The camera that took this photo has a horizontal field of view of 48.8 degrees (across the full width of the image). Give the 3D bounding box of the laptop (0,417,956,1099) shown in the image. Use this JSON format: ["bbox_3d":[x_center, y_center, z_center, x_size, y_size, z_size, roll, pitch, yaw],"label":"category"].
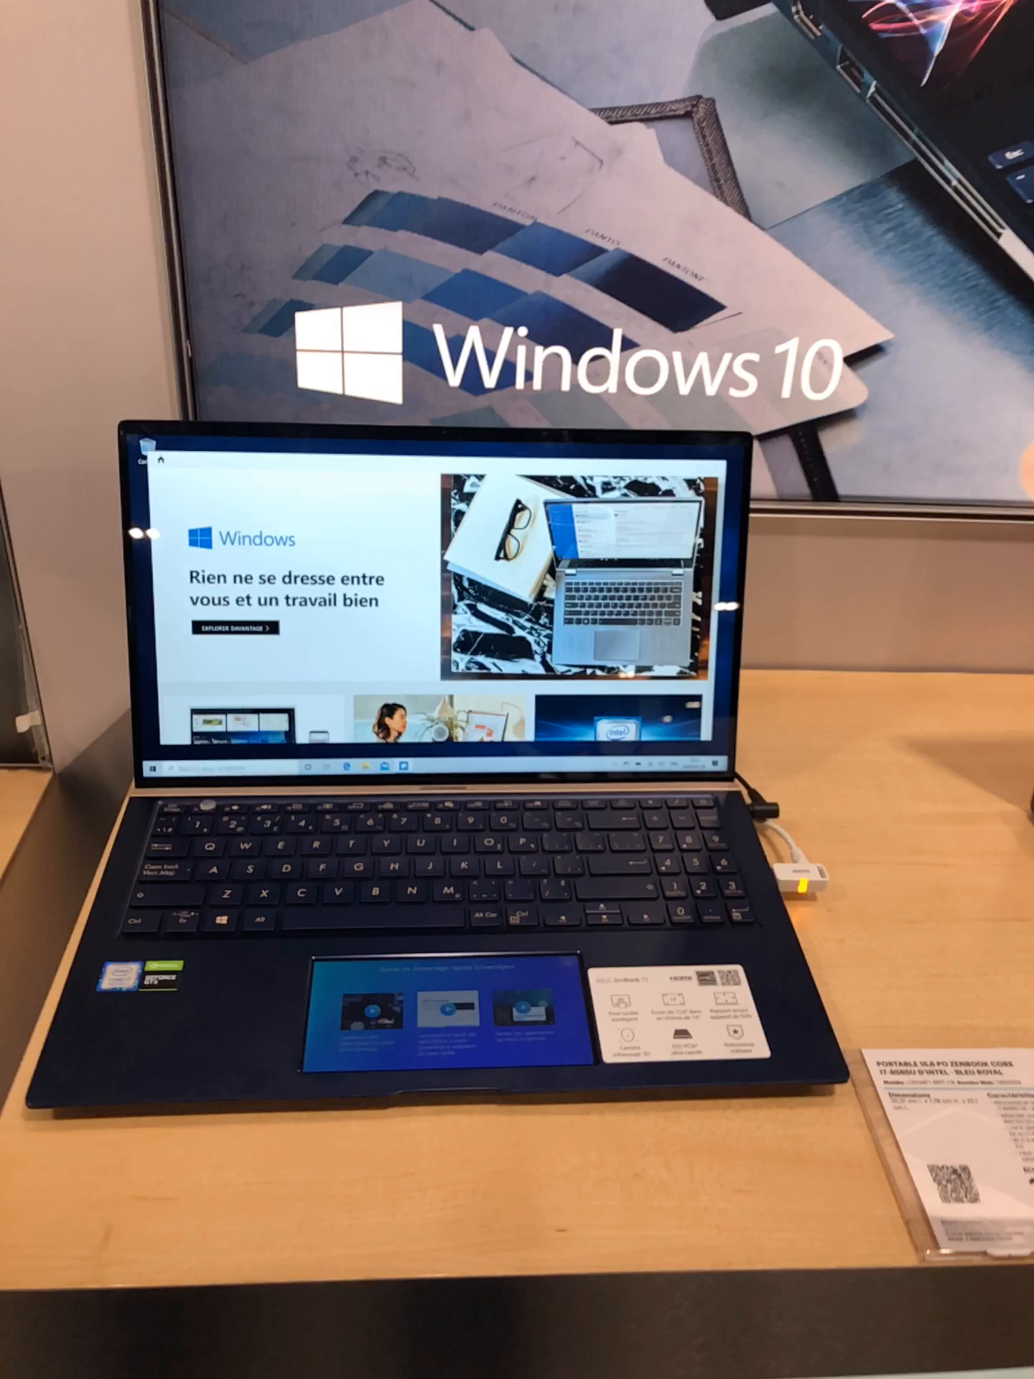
[{"bbox_3d":[-0.033,0.013,0.539,0.338,0.183,0.275,0,32,-6],"label":"laptop"}]
